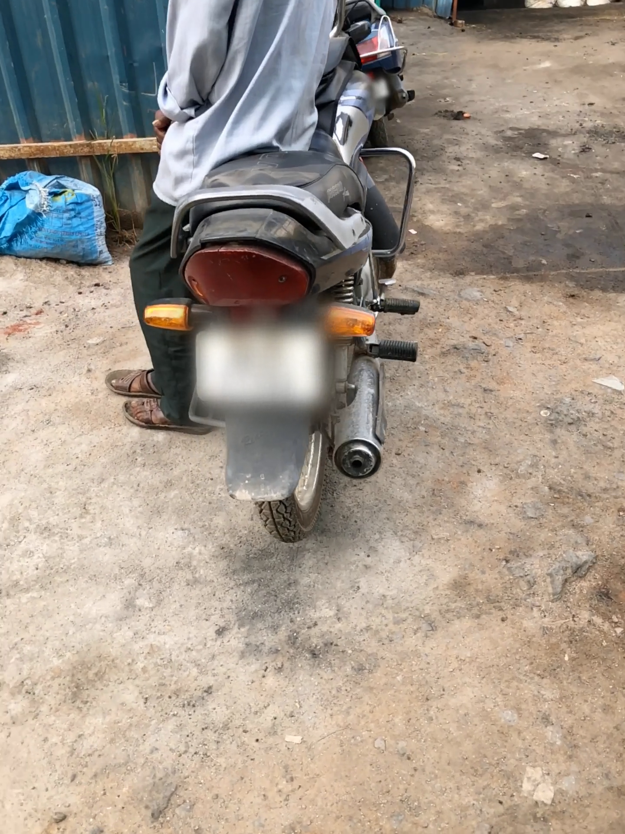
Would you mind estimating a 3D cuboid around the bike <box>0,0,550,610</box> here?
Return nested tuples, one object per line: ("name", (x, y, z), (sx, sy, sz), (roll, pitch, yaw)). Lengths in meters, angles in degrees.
("bike", (-0.067, -0.630, 1.880), (0.783, 1.153, 1.812), (0, 37, 3))
